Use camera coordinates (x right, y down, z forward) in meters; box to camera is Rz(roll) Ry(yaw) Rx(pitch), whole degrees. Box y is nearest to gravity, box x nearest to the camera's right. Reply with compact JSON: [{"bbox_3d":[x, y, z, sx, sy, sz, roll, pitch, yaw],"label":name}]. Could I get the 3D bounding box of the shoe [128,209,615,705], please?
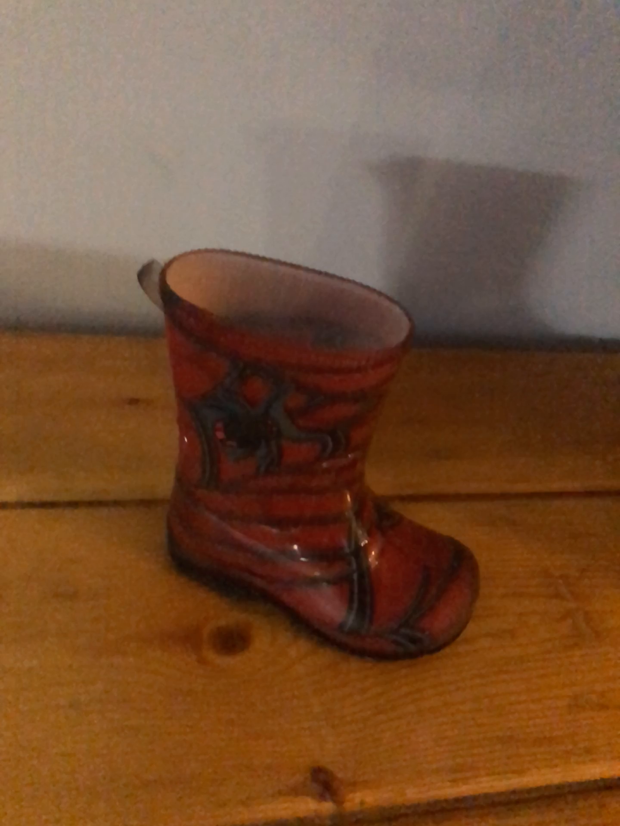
[{"bbox_3d":[0.013,0.027,0.302,0.160,0.169,0.080,18,43,5],"label":"shoe"}]
